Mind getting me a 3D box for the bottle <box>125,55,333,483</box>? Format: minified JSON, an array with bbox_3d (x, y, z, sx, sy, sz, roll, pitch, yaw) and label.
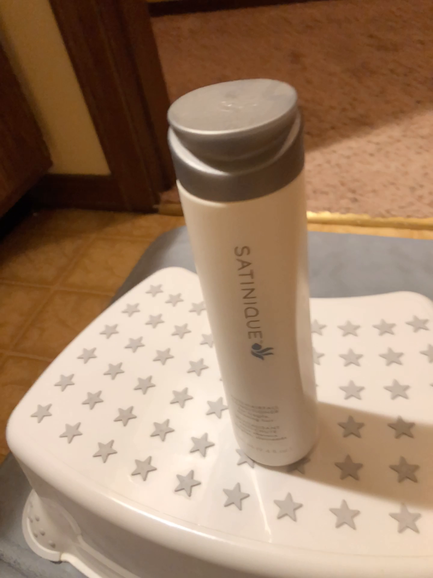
[{"bbox_3d":[0.022,0.010,0.225,0.050,0.209,0.050,-7,42,6],"label":"bottle"}]
